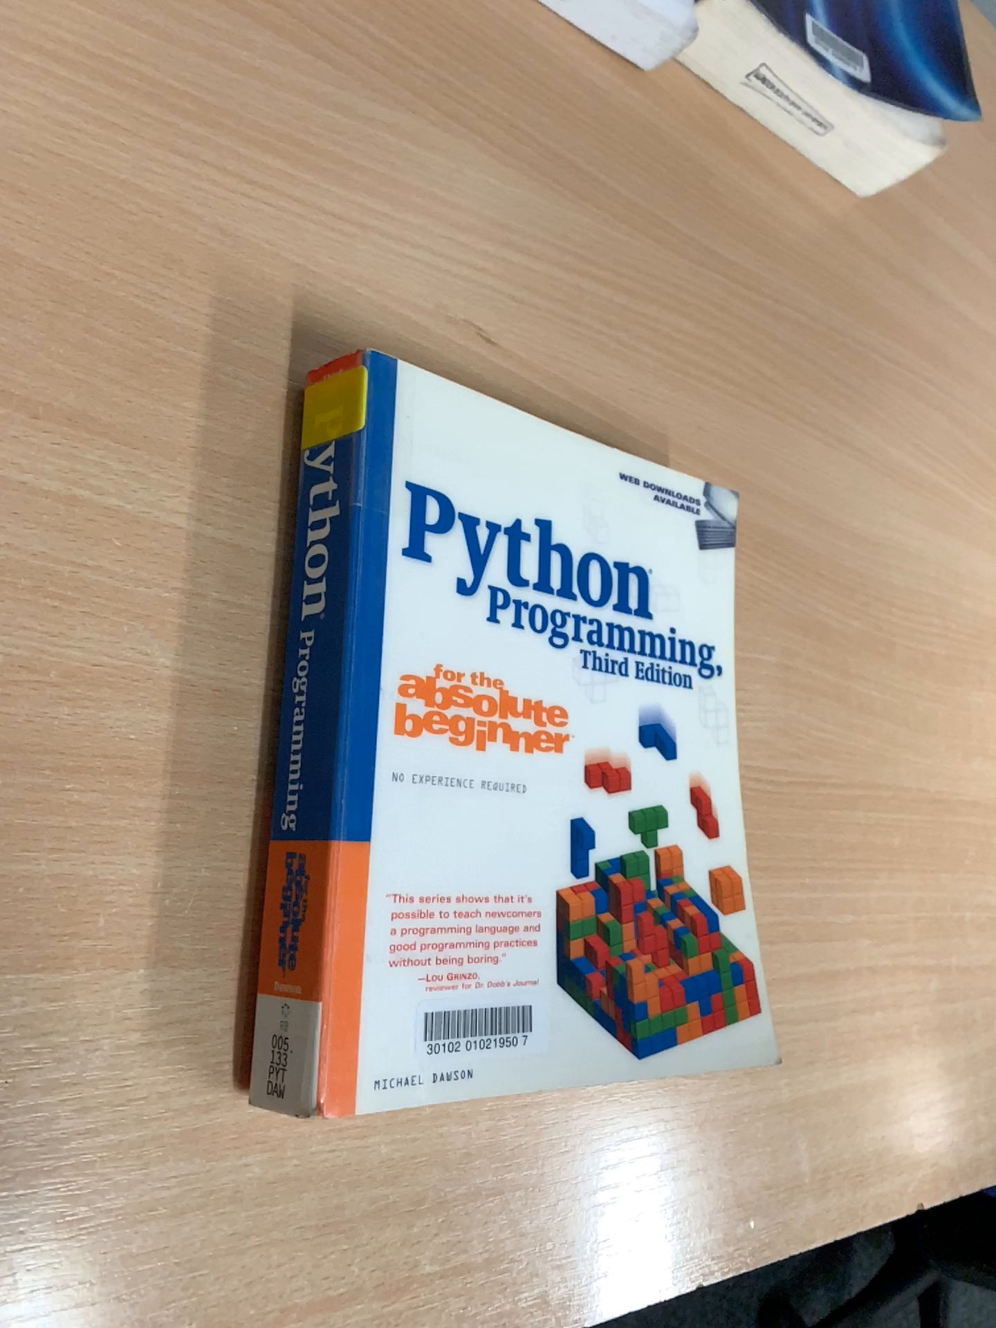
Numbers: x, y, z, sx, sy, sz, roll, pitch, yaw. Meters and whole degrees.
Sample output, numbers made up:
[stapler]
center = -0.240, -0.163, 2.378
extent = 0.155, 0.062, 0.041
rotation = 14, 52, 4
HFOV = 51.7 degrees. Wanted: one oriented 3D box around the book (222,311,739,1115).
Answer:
[book]
center = 0.008, 0.020, 0.345
extent = 0.175, 0.039, 0.219
rotation = 11, 75, -38
